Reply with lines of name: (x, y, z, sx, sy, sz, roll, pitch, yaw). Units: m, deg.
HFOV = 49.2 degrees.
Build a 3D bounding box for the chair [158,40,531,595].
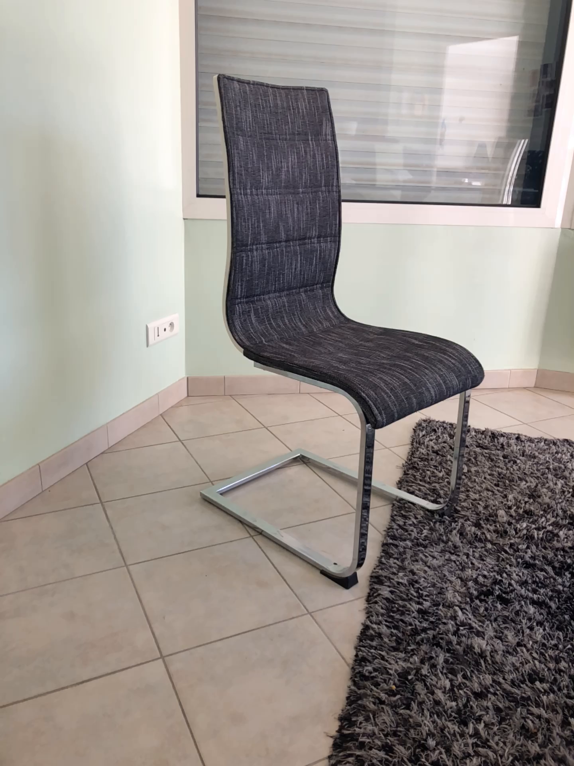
chair: (0.097, -0.170, 1.434, 0.580, 0.966, 0.503, 18, 24, 40)
